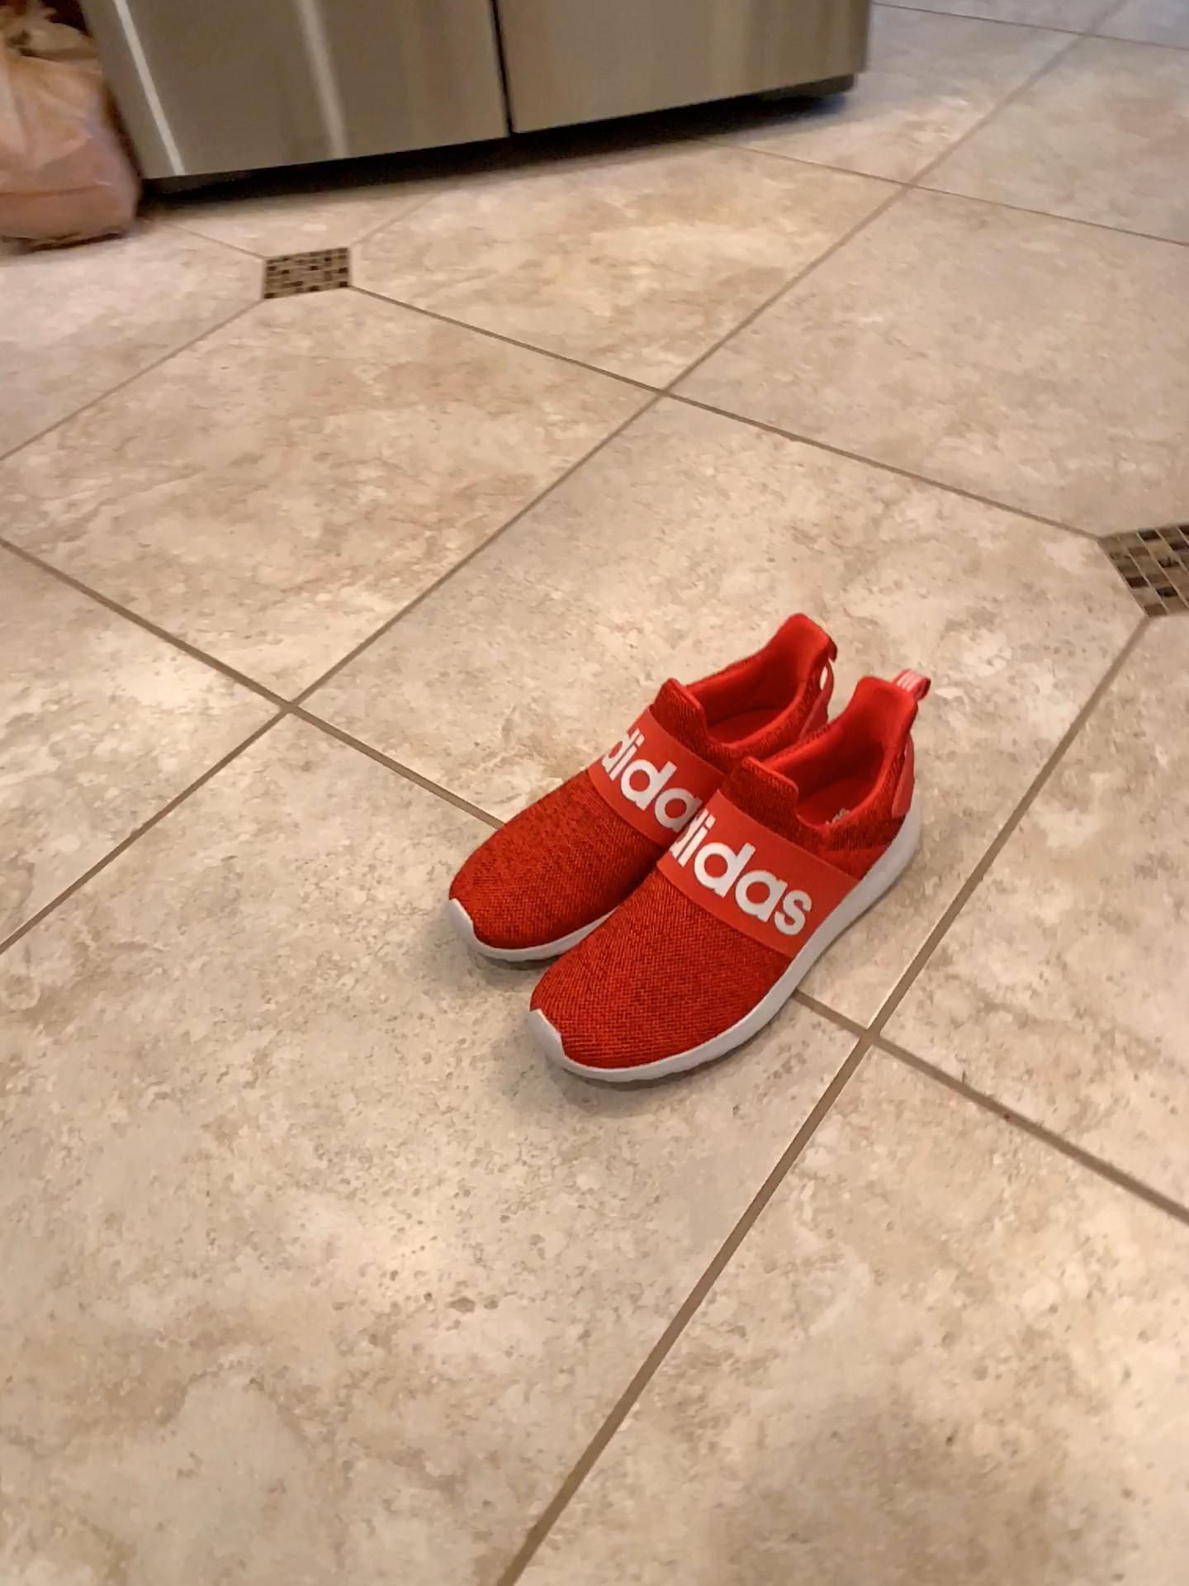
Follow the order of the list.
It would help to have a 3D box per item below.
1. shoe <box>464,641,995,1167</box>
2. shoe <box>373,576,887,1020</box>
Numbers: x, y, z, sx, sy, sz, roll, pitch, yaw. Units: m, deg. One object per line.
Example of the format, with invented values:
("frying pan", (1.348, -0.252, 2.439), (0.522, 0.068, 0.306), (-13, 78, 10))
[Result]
("shoe", (0.086, 0.056, 0.720), (0.300, 0.119, 0.118), (-36, 55, -23))
("shoe", (0.029, -0.003, 0.784), (0.300, 0.119, 0.118), (-29, 52, -17))
